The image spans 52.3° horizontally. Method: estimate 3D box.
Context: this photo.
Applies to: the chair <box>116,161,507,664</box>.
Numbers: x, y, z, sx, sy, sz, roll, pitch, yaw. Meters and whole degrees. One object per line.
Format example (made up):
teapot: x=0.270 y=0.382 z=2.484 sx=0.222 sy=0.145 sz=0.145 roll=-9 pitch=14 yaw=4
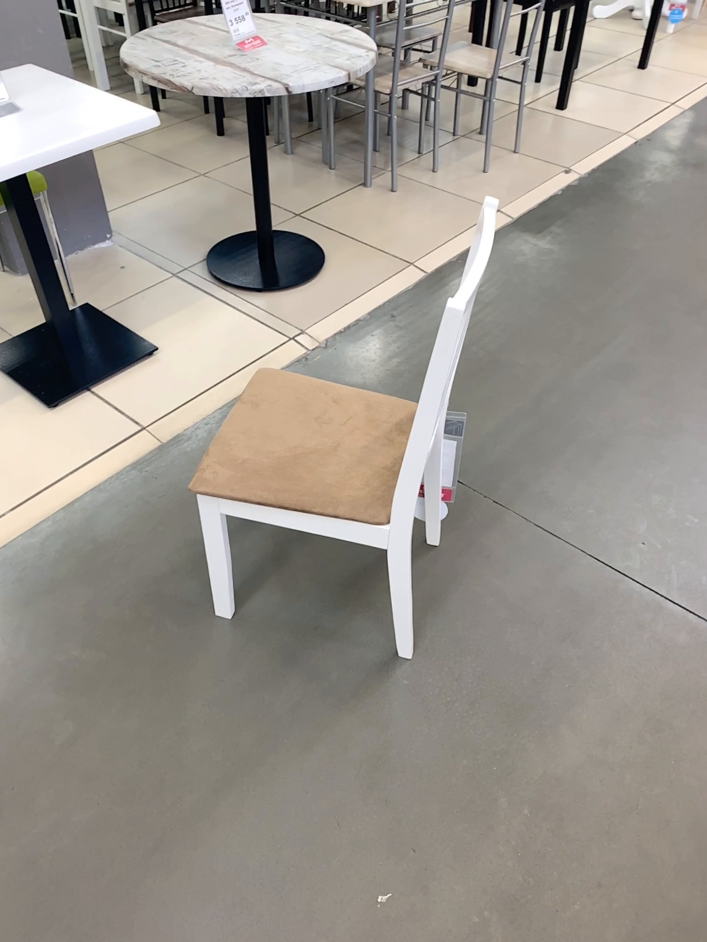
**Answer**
chair: x=-0.040 y=-0.078 z=1.376 sx=0.500 sy=0.816 sz=0.402 roll=10 pitch=45 yaw=10
